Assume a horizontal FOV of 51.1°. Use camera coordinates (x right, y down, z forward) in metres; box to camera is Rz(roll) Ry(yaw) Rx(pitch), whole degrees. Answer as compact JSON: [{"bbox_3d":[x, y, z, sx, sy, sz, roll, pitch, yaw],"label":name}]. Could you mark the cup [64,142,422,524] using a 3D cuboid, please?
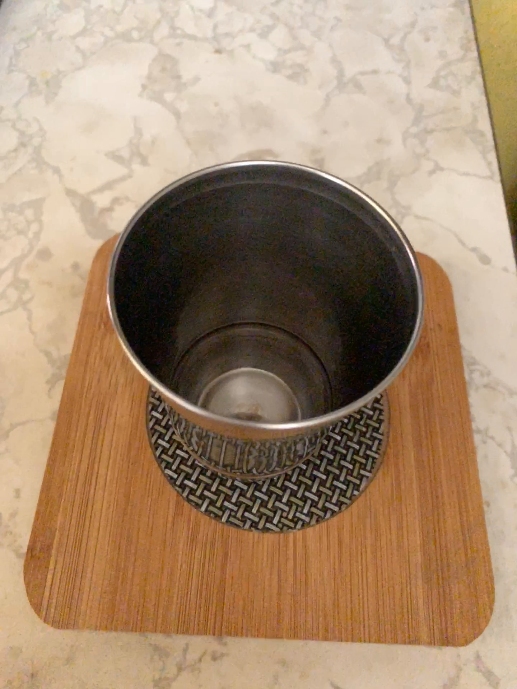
[{"bbox_3d":[-0.001,0.004,0.163,0.070,0.091,0.073,1,61,-2],"label":"cup"}]
